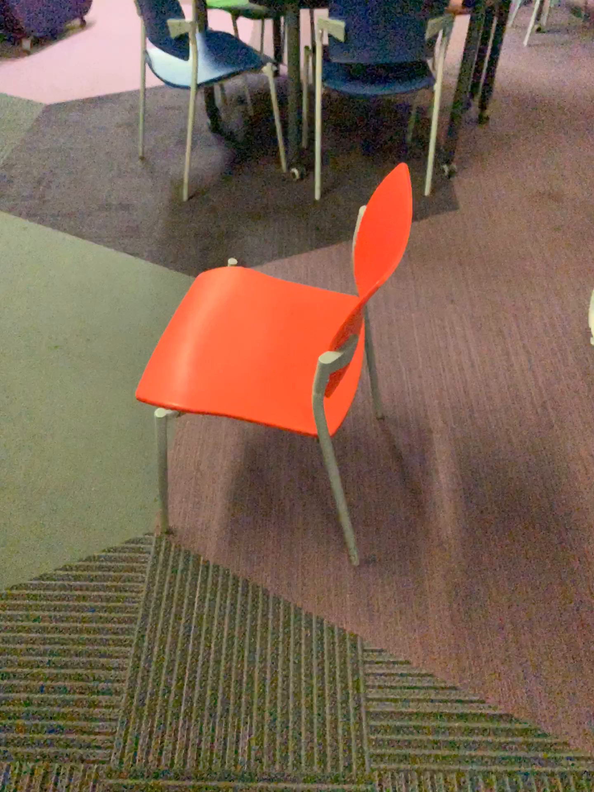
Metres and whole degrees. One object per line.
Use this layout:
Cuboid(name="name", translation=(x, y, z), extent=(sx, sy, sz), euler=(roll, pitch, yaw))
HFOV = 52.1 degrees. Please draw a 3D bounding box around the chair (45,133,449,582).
Cuboid(name="chair", translation=(-0.049, -0.083, 1.311), extent=(0.560, 0.684, 0.544), euler=(12, 46, 11))
